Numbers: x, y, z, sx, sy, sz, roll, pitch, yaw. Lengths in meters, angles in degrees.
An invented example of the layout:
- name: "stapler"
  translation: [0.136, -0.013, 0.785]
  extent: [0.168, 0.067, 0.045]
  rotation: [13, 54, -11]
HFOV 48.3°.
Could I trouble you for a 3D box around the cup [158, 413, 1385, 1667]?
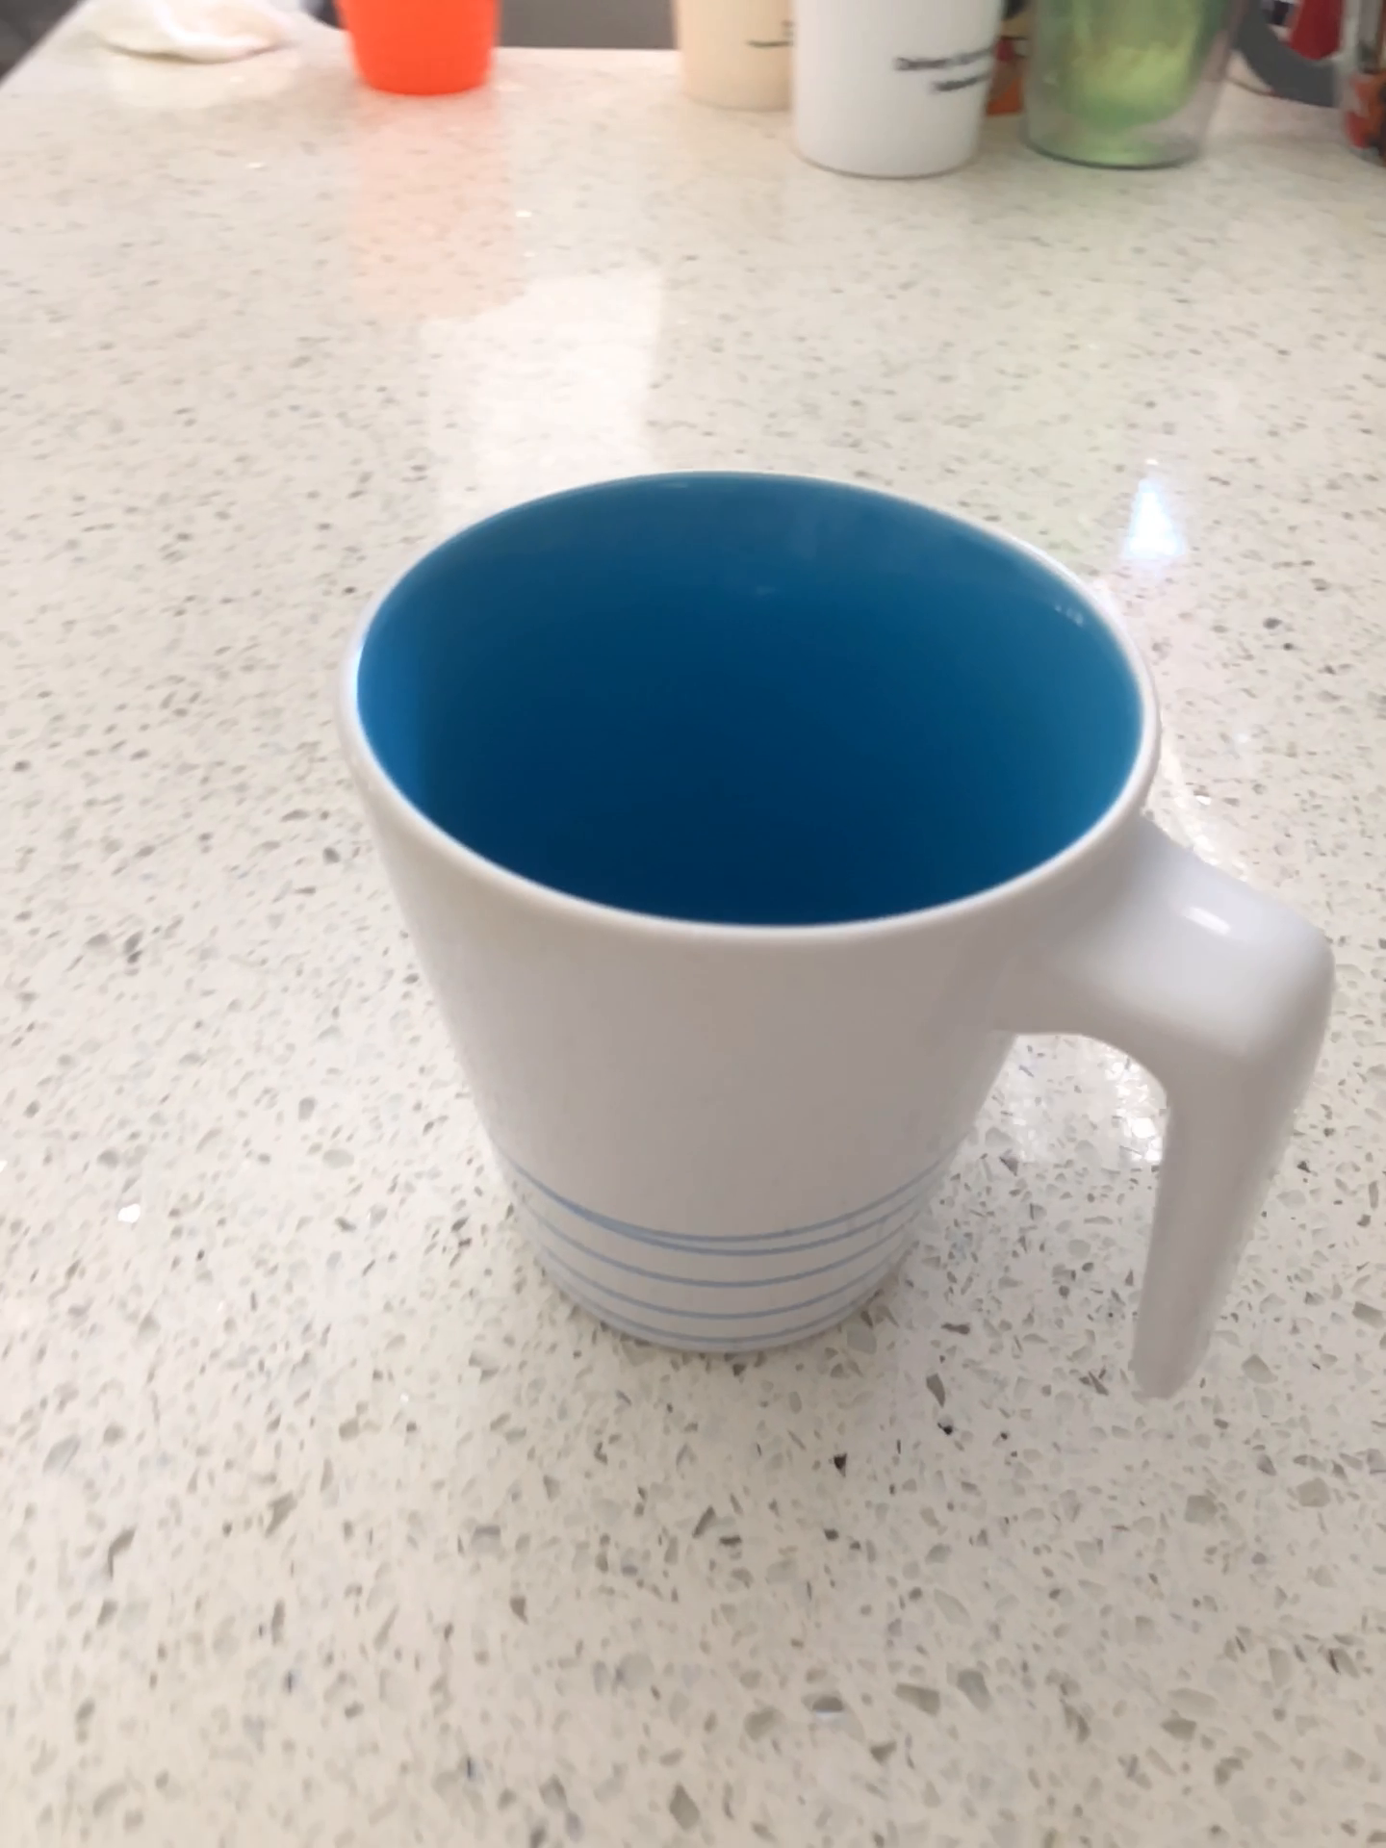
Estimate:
- name: "cup"
  translation: [0.020, 0.008, 0.185]
  extent: [0.120, 0.090, 0.080]
  rotation: [16, 44, 16]
